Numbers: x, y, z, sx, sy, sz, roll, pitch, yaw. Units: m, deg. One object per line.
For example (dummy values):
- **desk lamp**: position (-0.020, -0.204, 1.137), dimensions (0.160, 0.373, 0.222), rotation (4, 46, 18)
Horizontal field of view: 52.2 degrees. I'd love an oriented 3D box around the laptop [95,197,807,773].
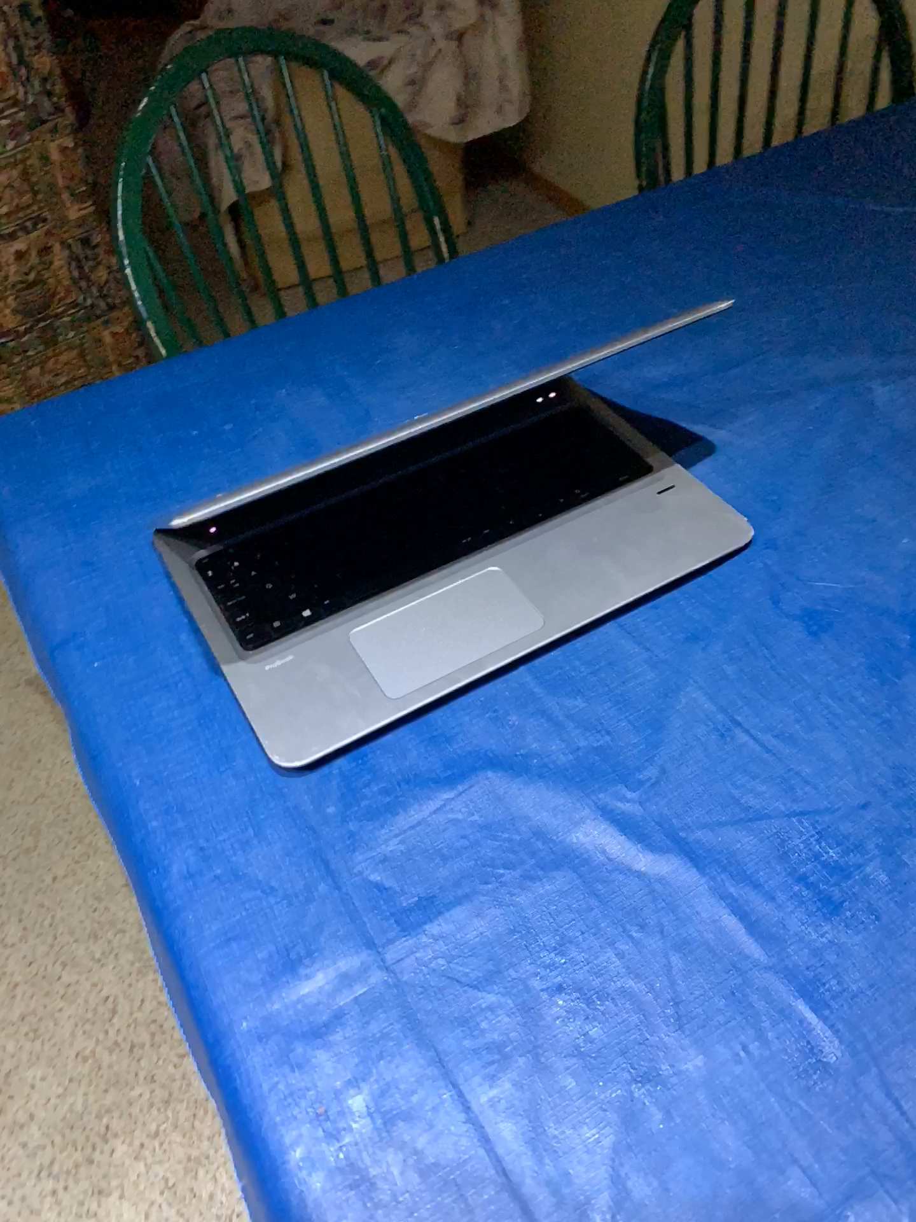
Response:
- **laptop**: position (-0.009, -0.109, 0.638), dimensions (0.366, 0.156, 0.254), rotation (-25, 51, -17)
